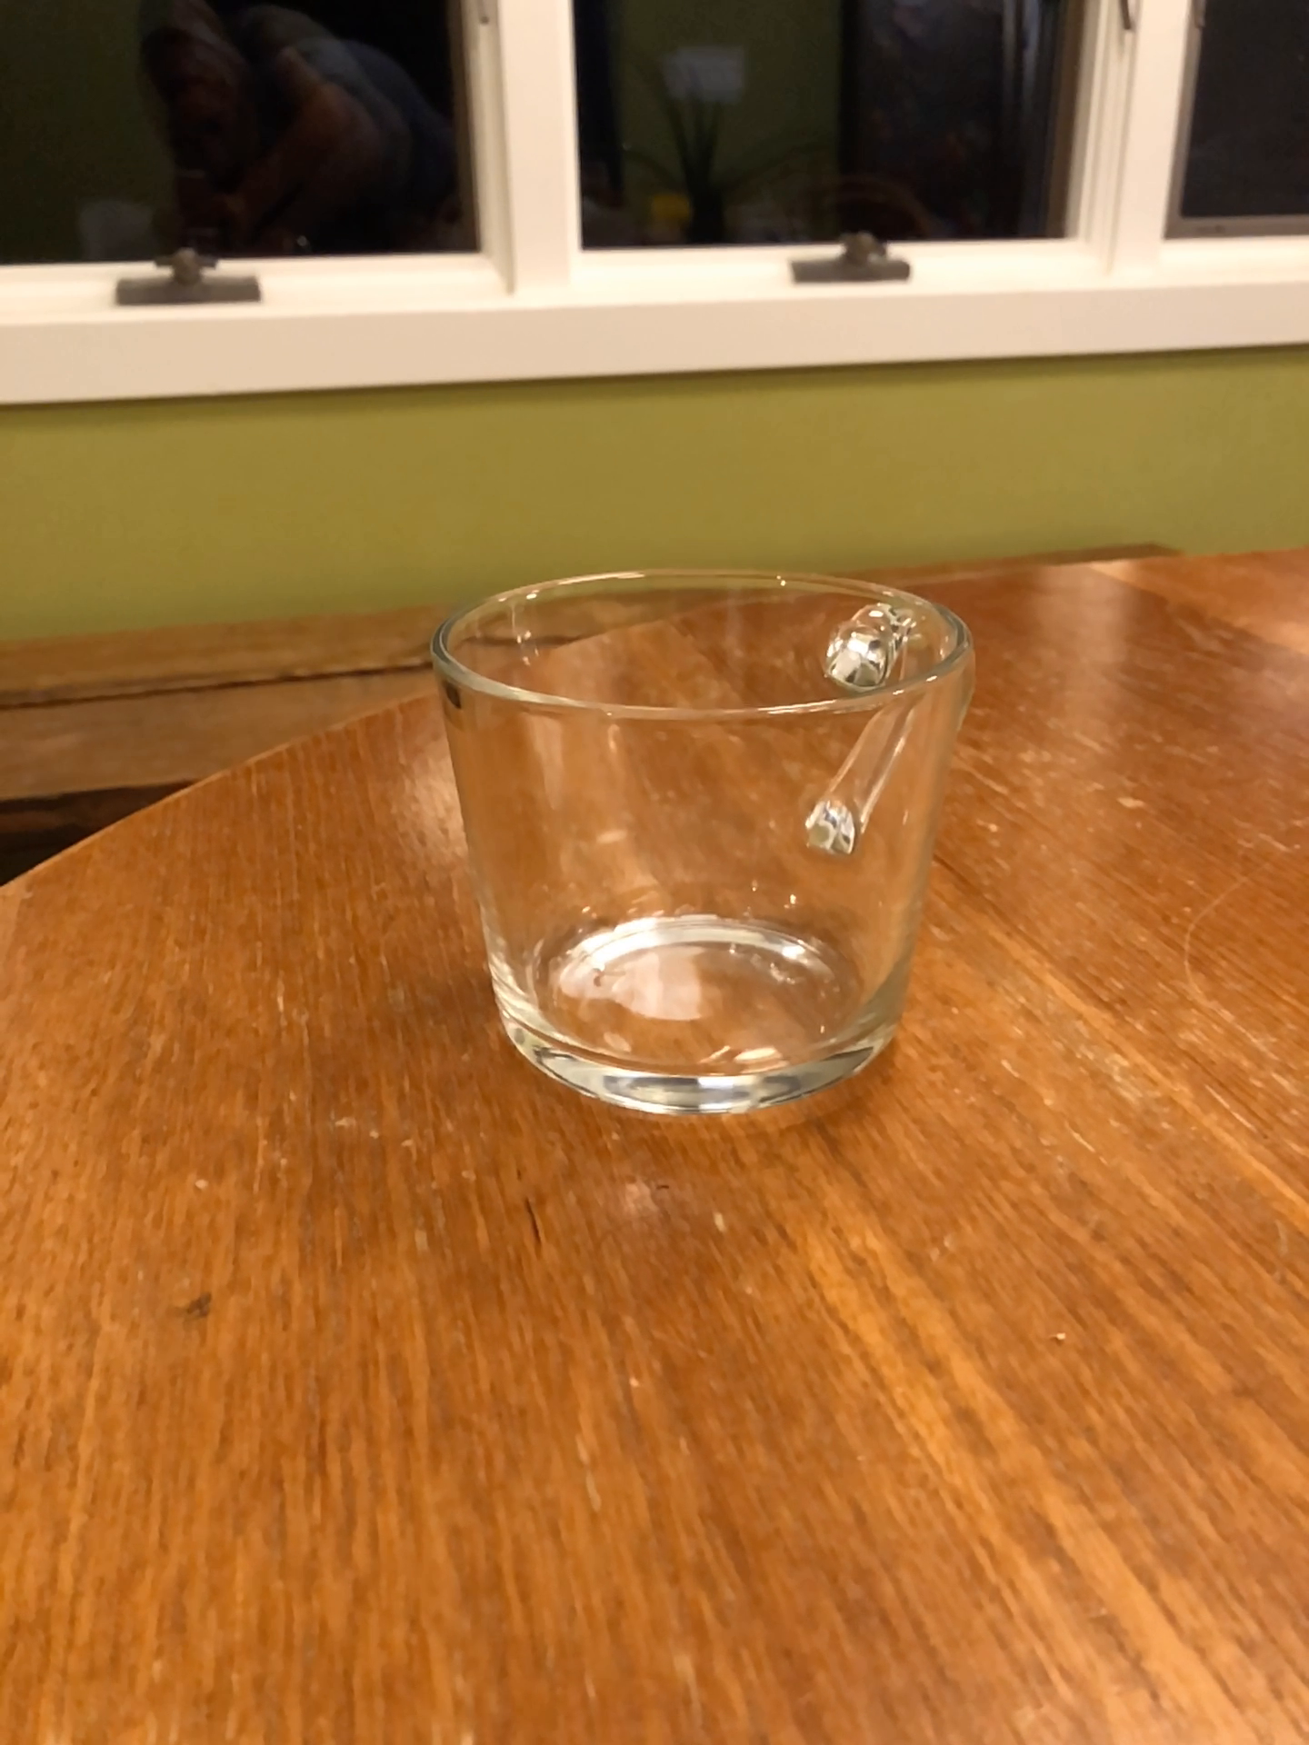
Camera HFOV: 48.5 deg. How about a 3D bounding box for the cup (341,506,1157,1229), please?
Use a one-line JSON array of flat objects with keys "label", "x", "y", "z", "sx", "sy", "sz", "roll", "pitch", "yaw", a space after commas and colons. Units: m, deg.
[{"label": "cup", "x": 0.020, "y": -0.014, "z": 0.295, "sx": 0.120, "sy": 0.089, "sz": 0.100, "roll": -22, "pitch": 31, "yaw": -38}]
